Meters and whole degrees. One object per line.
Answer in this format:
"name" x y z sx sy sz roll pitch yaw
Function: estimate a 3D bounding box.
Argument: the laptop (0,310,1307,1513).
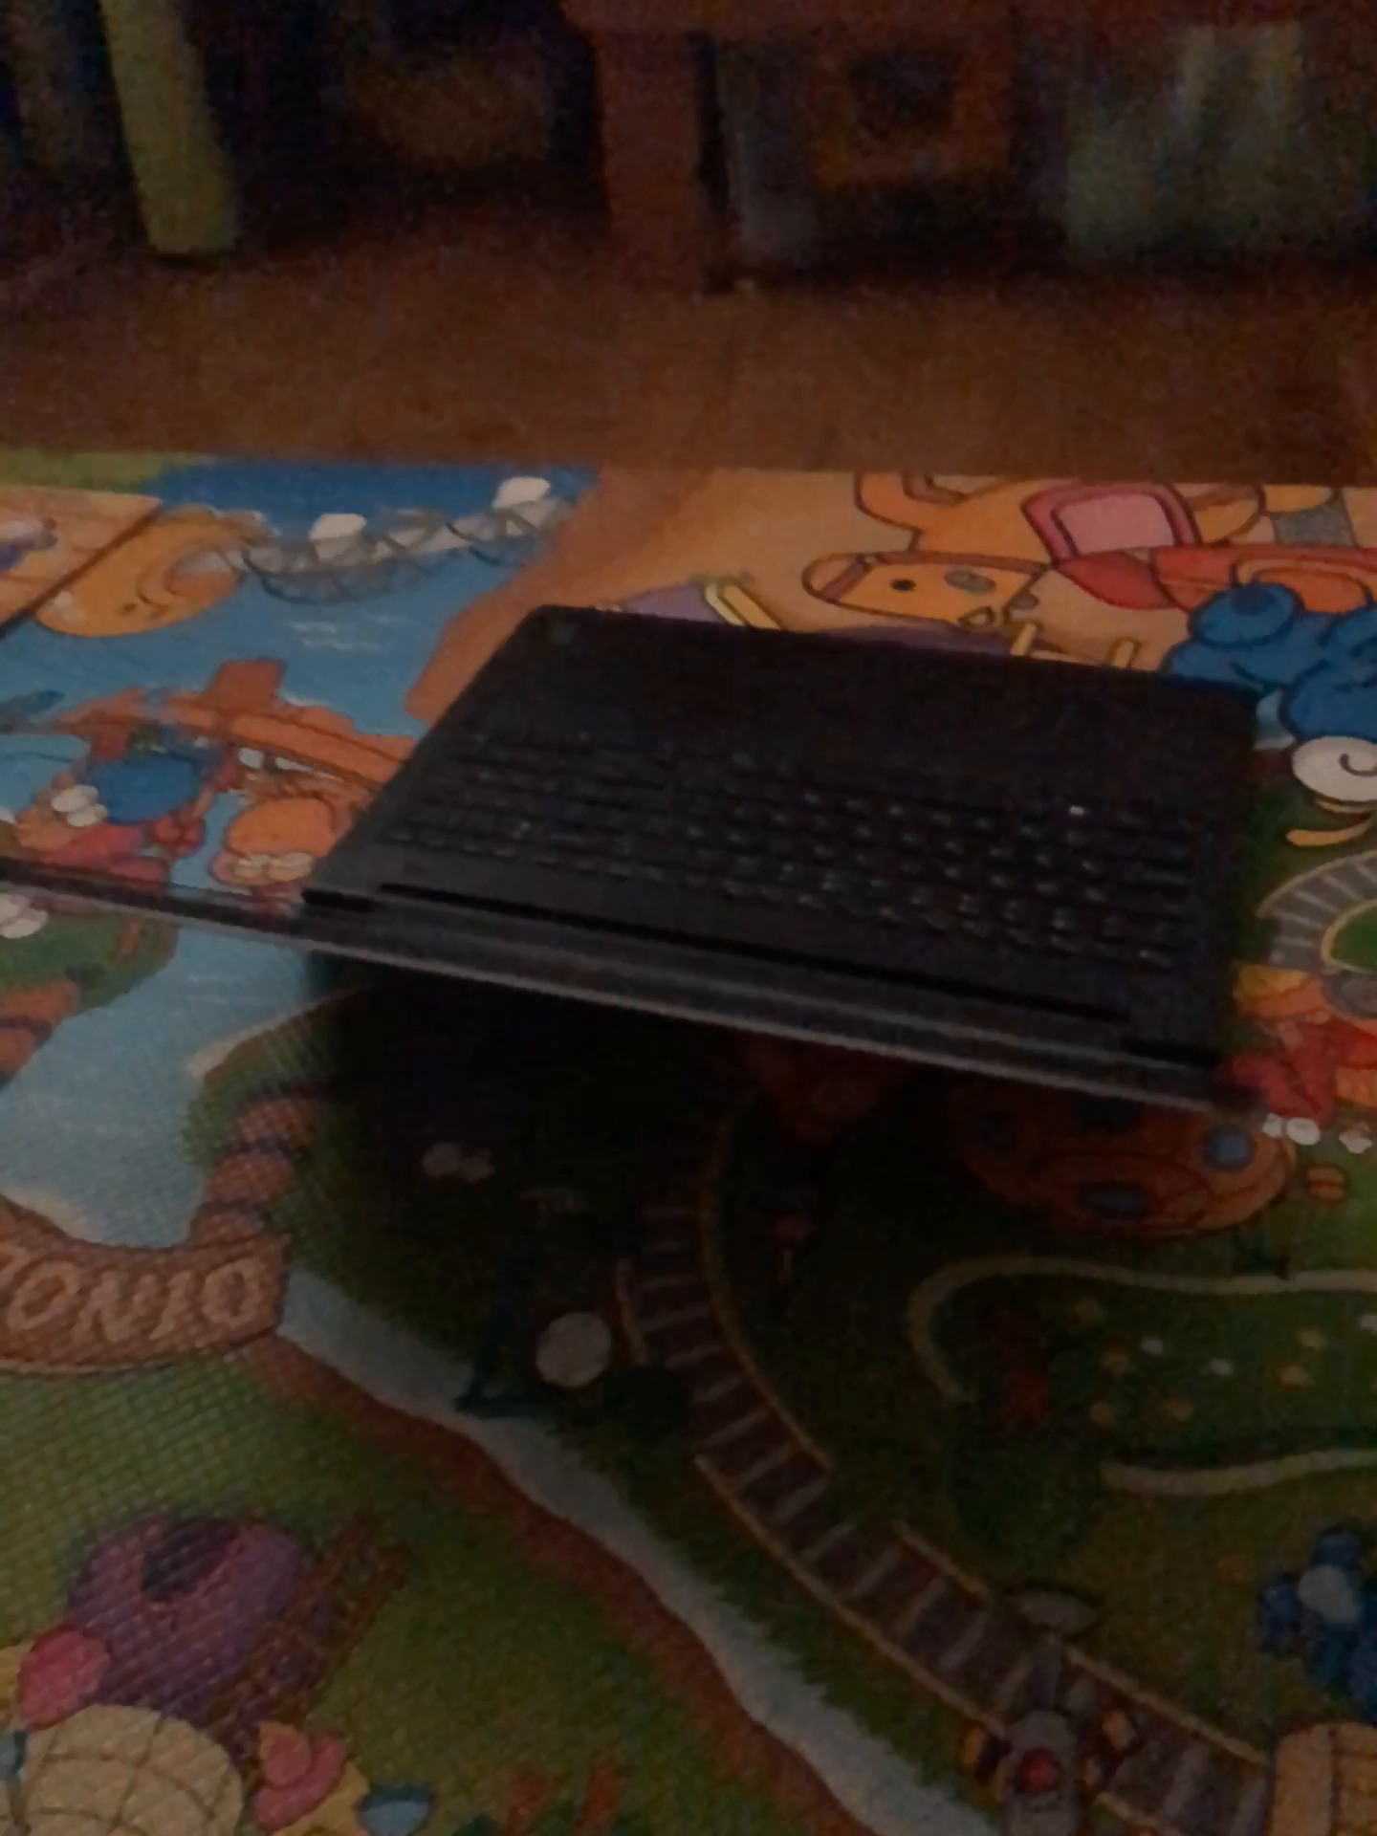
"laptop" 0.019 -0.065 0.560 0.361 0.158 0.431 10 41 16
